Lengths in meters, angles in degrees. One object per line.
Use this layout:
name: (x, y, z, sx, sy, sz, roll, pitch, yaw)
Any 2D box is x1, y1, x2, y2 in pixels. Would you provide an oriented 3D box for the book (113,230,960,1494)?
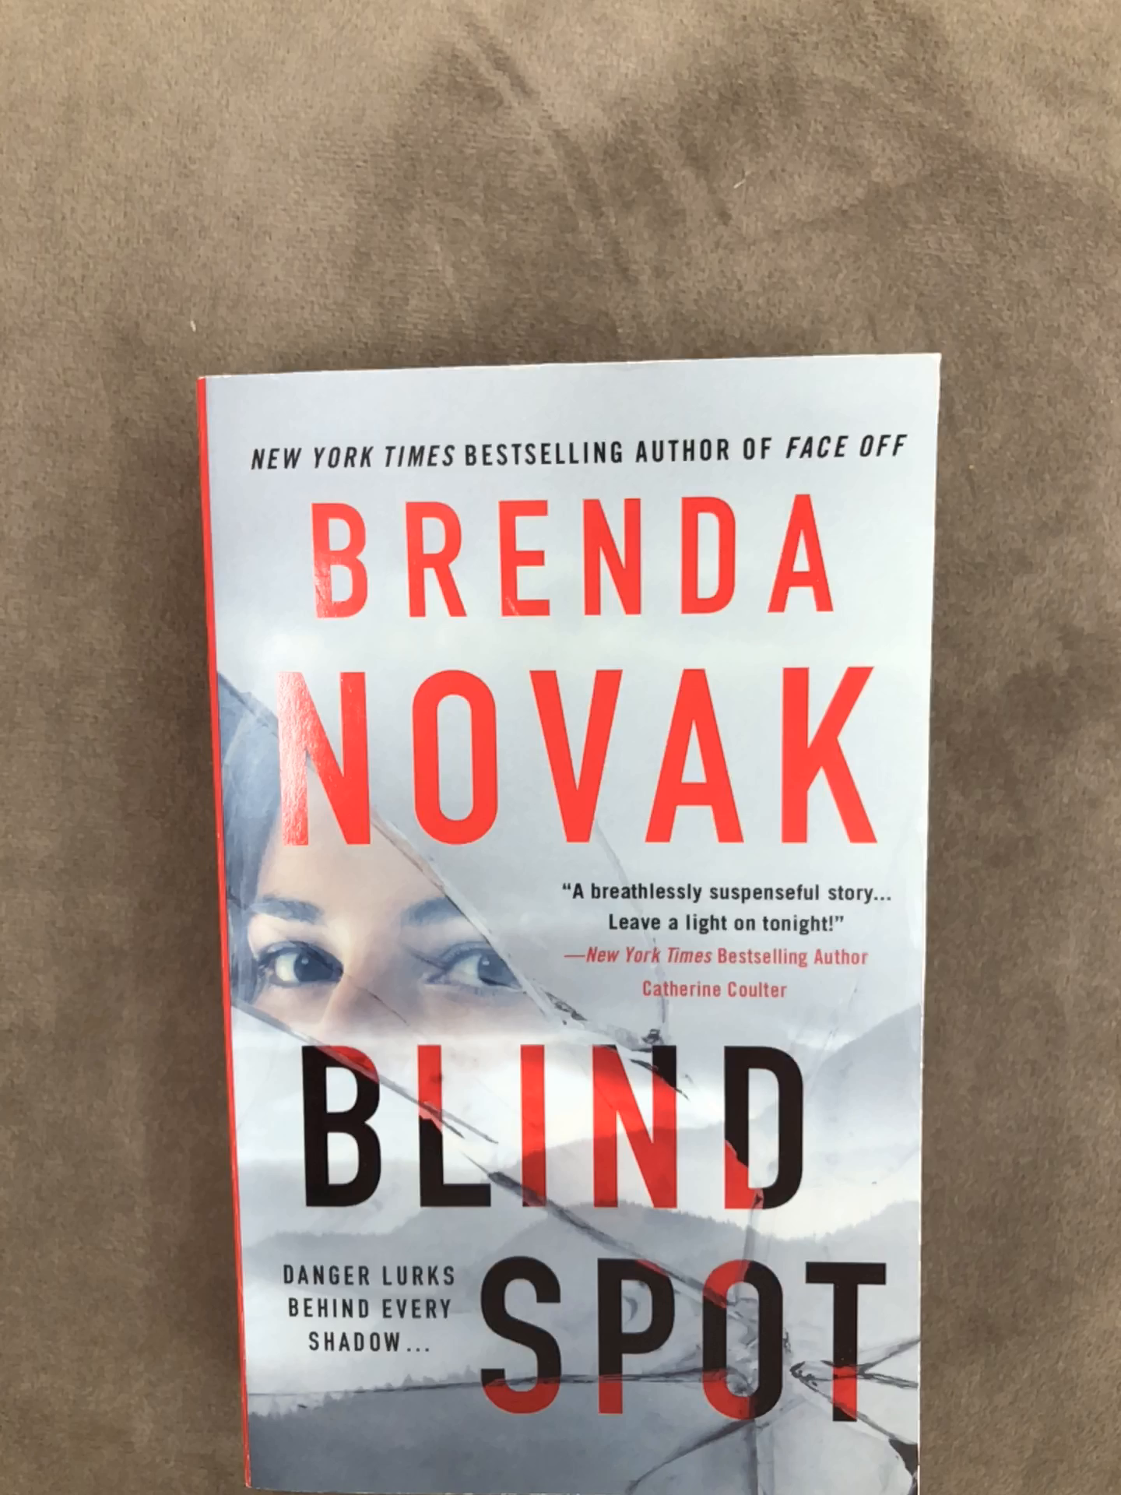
book: (-0.001, 0.024, 0.210, 0.120, 0.050, 0.190, -1, 96, 8)
